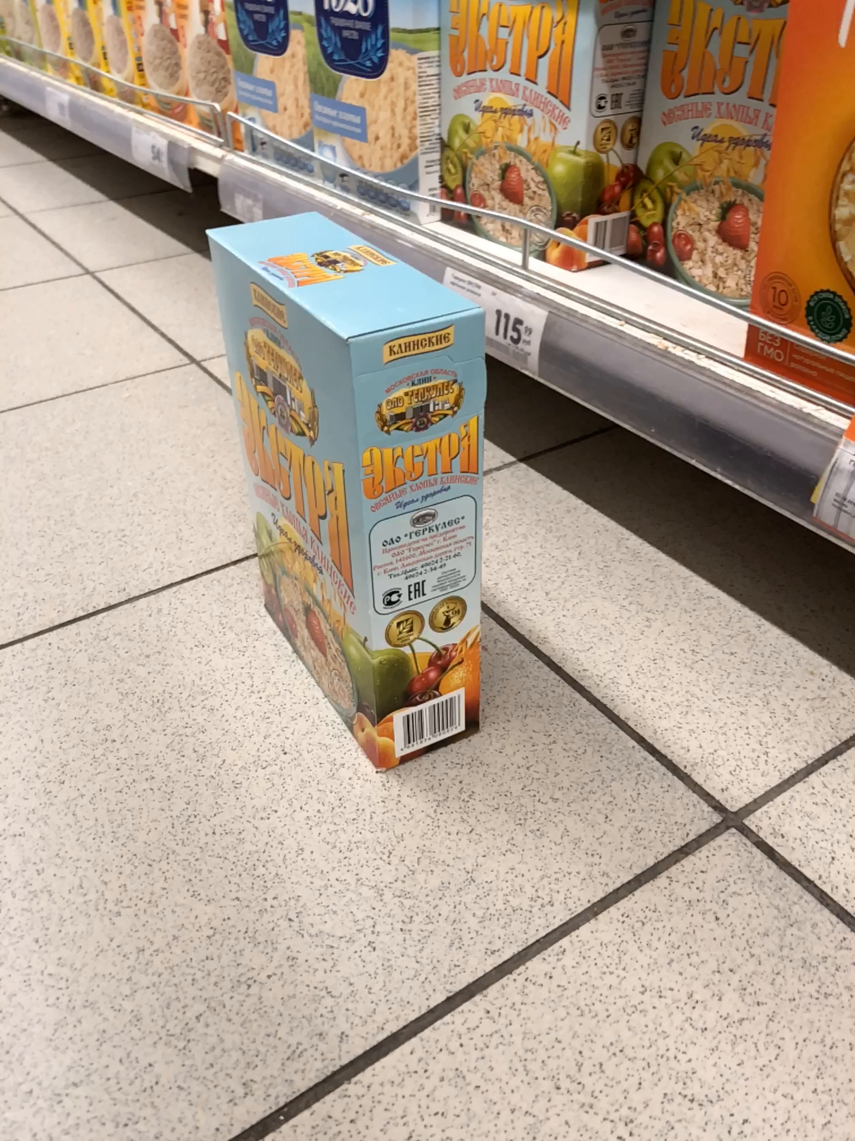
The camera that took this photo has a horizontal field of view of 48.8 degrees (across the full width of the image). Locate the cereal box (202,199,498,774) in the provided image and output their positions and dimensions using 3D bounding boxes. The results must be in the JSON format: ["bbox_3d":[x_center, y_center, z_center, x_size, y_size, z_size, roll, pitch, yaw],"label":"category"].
[{"bbox_3d":[-0.035,-0.040,0.431,0.060,0.209,0.151,-18,38,-22],"label":"cereal box"}]
